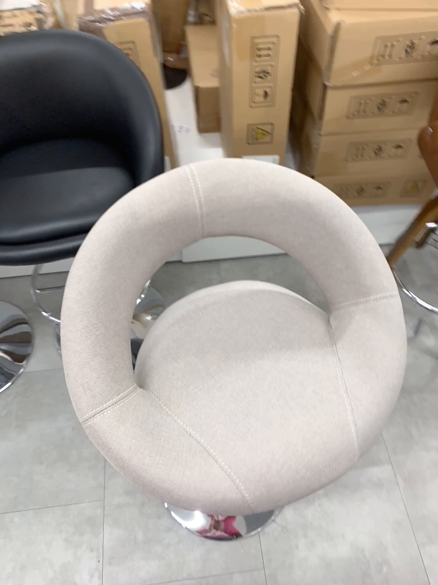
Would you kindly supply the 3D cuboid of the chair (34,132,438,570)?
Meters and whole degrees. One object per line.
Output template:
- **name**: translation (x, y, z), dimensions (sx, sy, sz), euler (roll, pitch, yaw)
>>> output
- **chair**: translation (0.018, 0.248, 0.980), dimensions (0.484, 0.980, 0.467), euler (-12, 57, -8)

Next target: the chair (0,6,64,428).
- **chair**: translation (-0.895, -0.076, 1.184), dimensions (0.534, 1.010, 0.487), euler (7, 57, 5)

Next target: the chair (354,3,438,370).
- **chair**: translation (0.808, -0.247, 1.391), dimensions (0.534, 0.911, 0.578), euler (7, 57, 5)

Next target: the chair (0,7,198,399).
- **chair**: translation (-0.372, -0.154, 1.266), dimensions (0.494, 0.941, 0.487), euler (-12, 57, -8)
